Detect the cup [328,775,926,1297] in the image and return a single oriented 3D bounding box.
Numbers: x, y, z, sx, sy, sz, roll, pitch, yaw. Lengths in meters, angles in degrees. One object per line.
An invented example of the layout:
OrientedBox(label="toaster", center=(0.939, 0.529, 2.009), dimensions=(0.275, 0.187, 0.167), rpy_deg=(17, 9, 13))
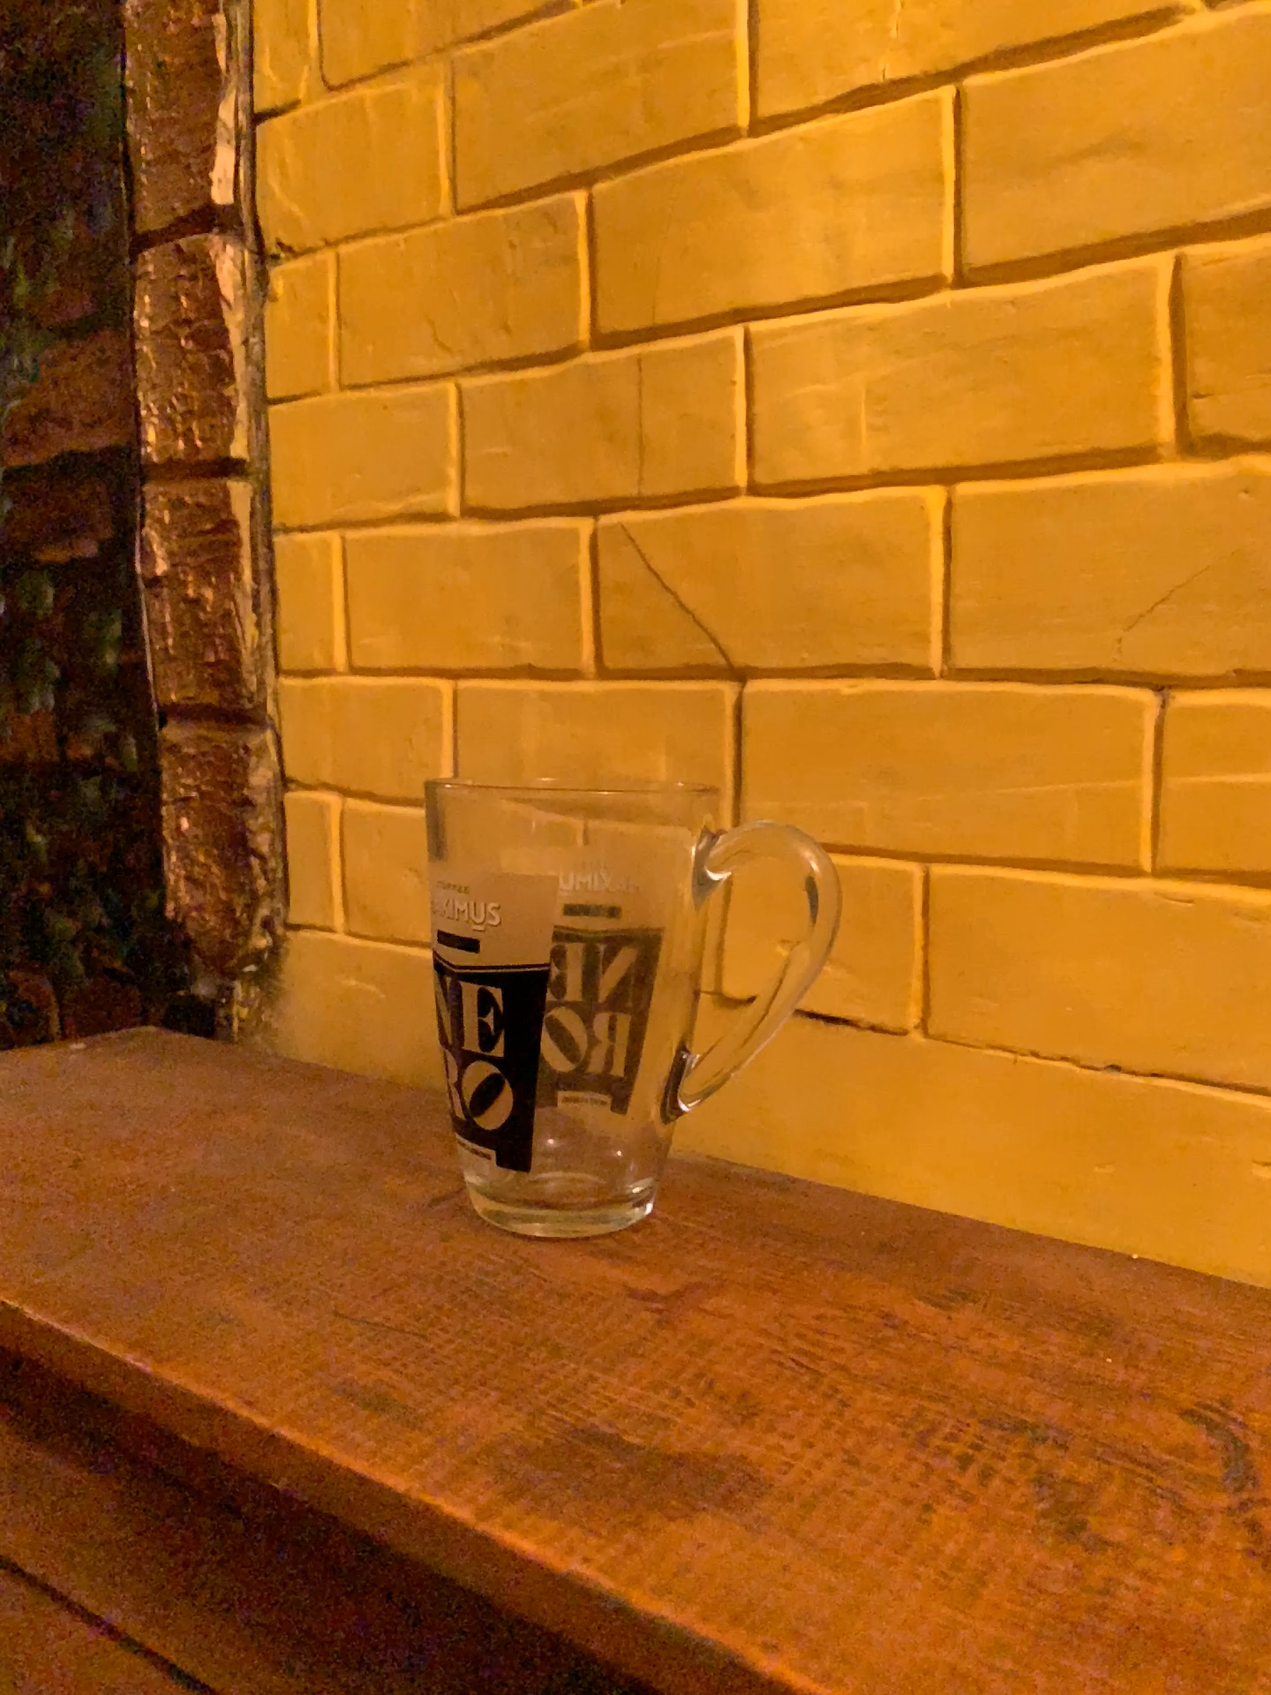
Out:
OrientedBox(label="cup", center=(0.000, 0.037, 0.344), dimensions=(0.124, 0.099, 0.093), rpy_deg=(4, 9, 29))
